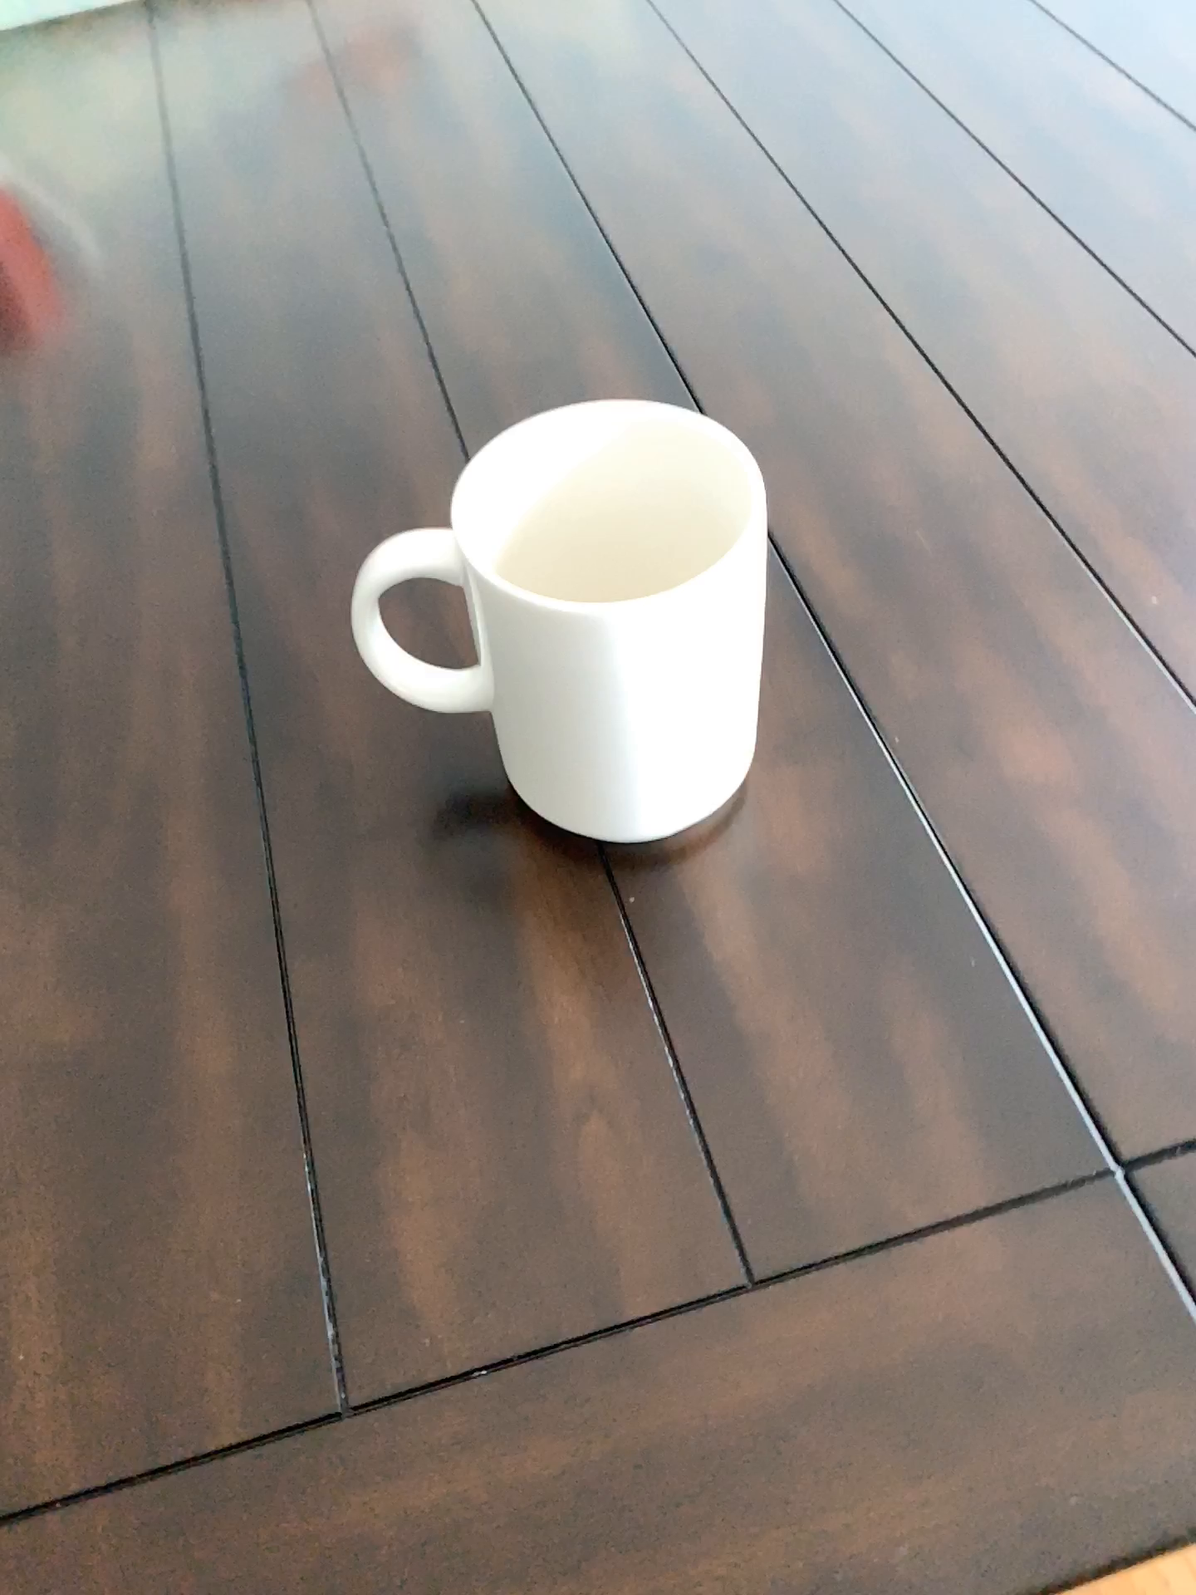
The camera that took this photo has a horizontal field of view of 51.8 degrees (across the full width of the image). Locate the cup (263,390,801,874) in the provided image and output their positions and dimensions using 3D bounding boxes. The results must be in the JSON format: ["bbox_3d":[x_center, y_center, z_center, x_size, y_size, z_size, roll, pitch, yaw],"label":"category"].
[{"bbox_3d":[-0.011,-0.048,0.372,0.130,0.110,0.080,6,53,10],"label":"cup"}]
